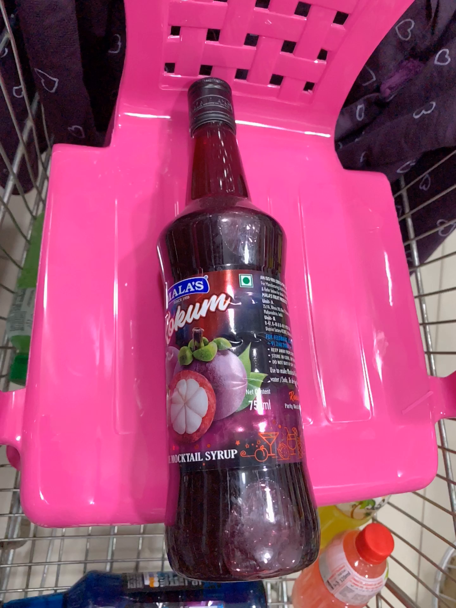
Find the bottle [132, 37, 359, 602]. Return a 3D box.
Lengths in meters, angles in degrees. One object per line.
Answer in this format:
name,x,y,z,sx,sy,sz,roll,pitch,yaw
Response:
bottle,0.003,0.002,0.267,0.080,0.080,0.260,11,71,-41
